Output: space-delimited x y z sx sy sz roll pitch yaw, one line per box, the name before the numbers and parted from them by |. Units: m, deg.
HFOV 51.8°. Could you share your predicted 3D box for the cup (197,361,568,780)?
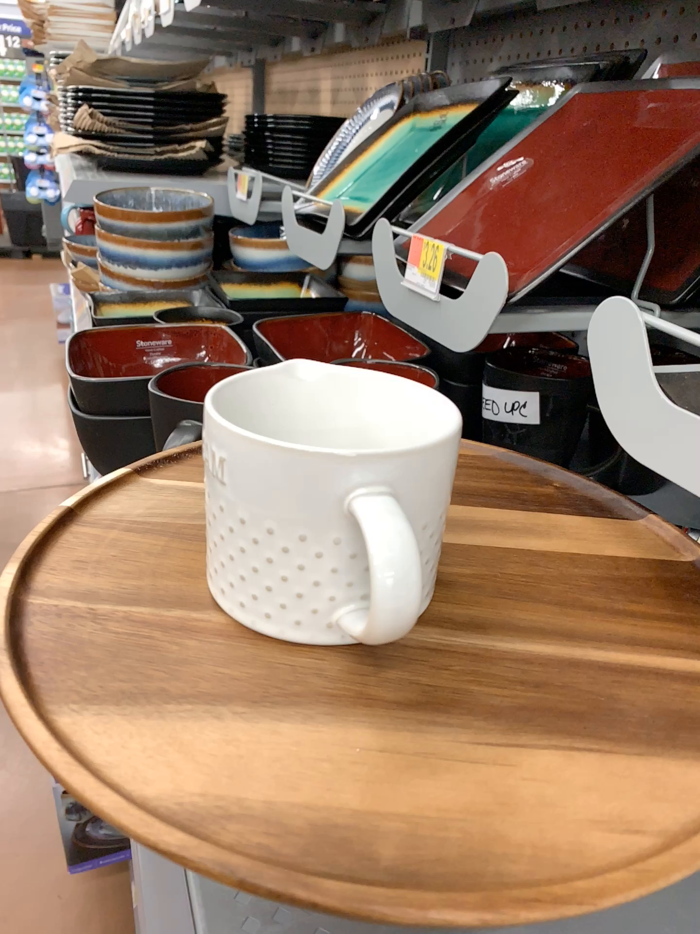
cup | -0.004 0.024 0.290 0.100 0.090 0.151 -3 26 -15
